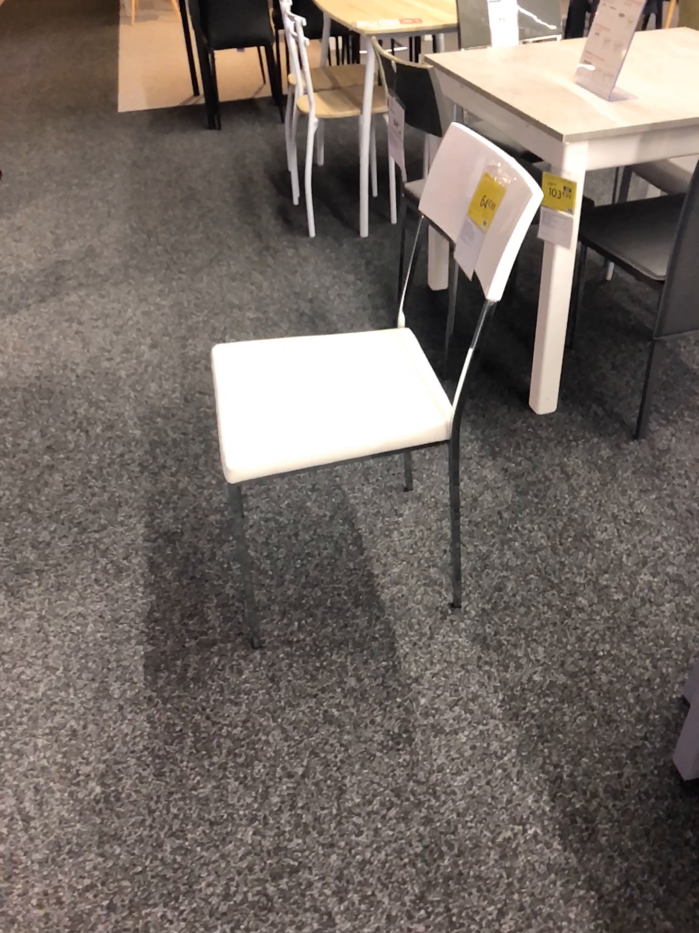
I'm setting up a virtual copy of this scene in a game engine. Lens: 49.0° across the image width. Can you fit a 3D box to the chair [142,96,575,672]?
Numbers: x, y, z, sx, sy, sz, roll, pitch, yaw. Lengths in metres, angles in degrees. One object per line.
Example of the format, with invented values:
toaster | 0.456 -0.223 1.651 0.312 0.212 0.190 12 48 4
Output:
chair | -0.010 -0.143 1.380 0.541 0.815 0.502 -10 38 -8
